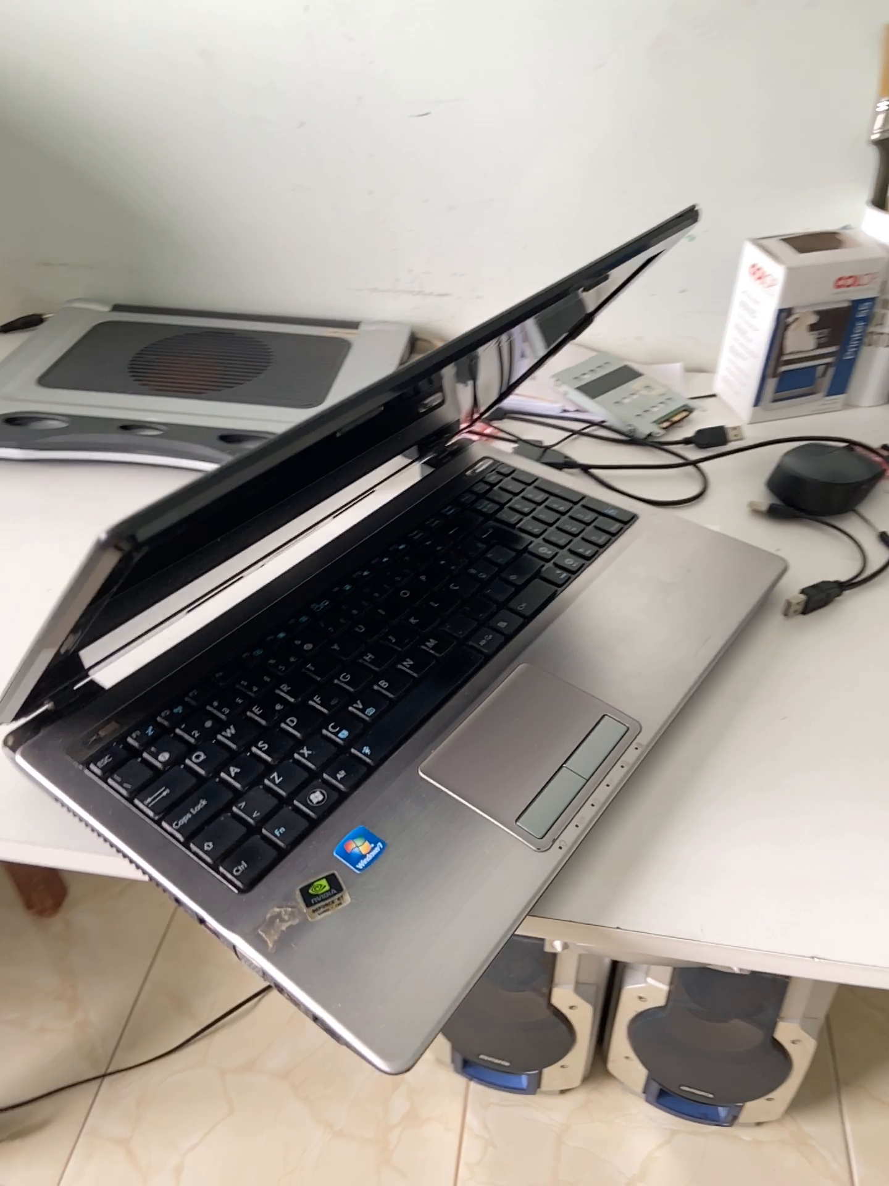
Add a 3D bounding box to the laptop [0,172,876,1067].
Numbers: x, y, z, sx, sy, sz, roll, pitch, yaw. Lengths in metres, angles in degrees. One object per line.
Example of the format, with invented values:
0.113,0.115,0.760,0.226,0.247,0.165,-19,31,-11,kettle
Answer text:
-0.001,-0.045,0.441,0.246,0.182,0.378,26,45,29,laptop
